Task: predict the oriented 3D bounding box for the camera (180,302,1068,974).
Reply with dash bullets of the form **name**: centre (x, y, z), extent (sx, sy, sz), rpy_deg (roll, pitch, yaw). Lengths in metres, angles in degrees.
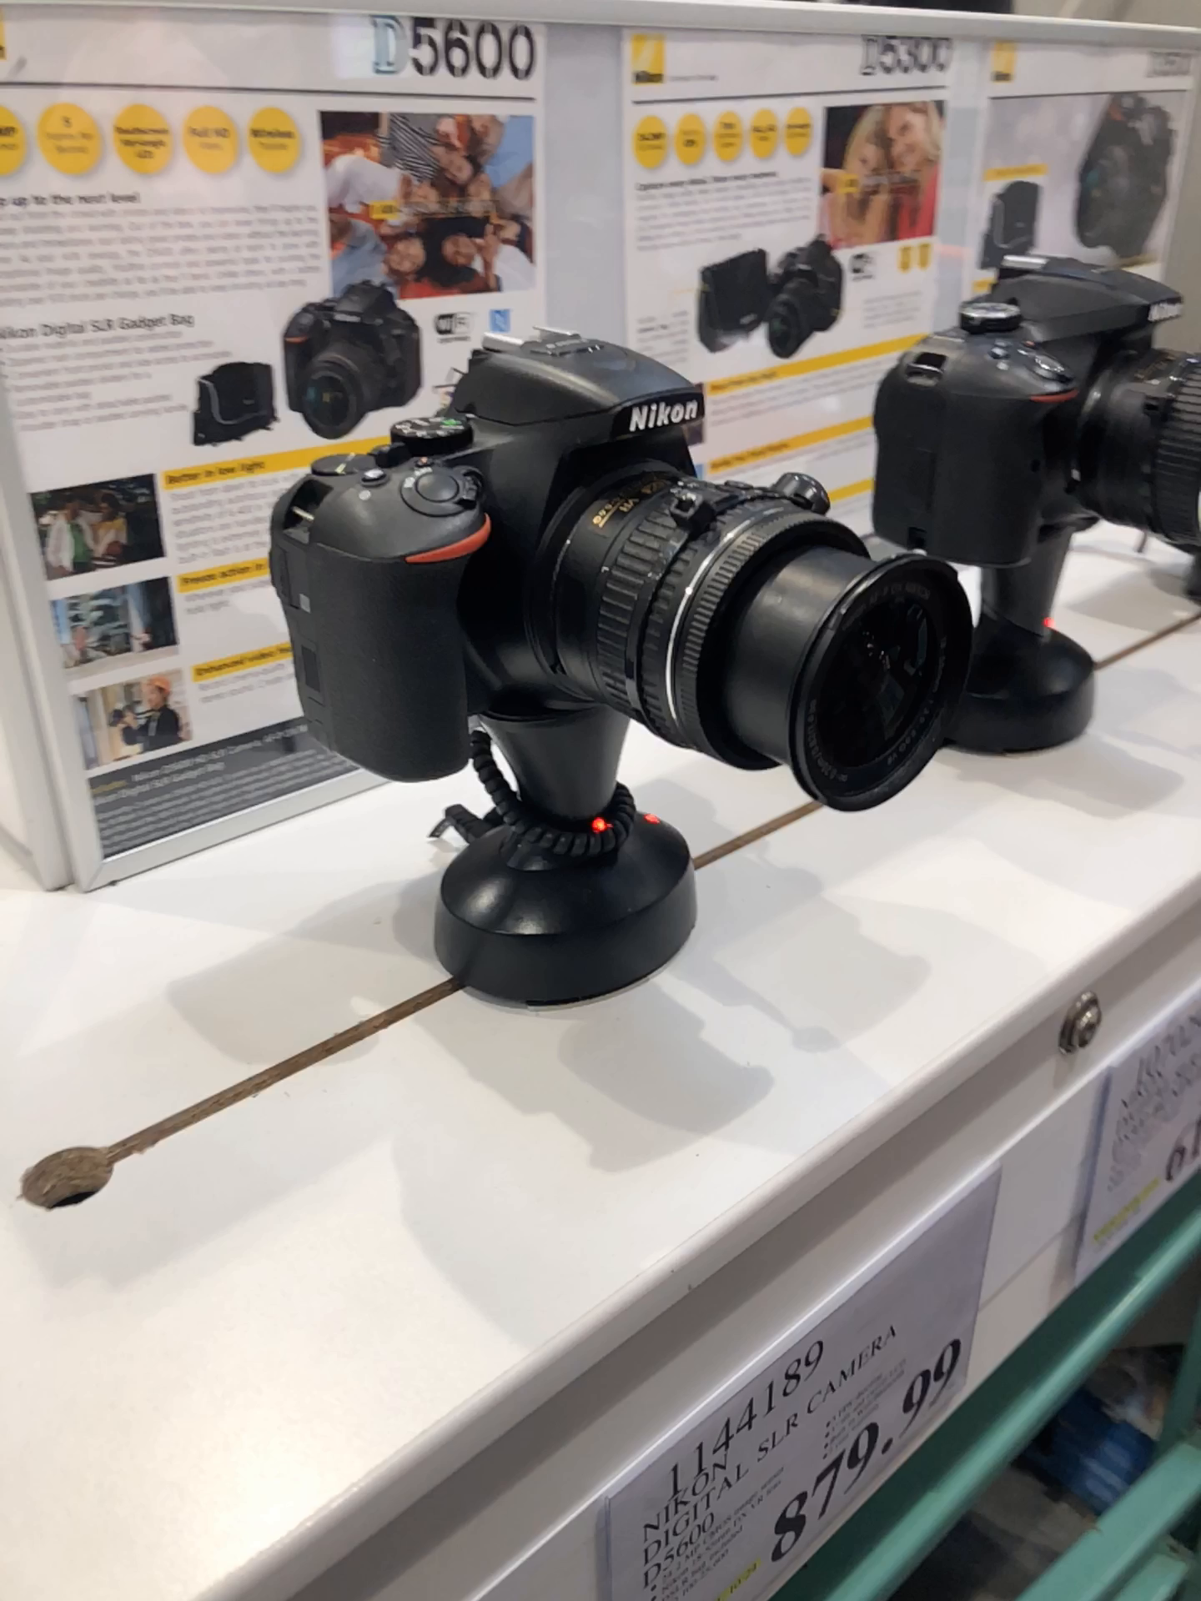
- **camera**: centre (0.001, -0.059, 0.336), extent (0.140, 0.099, 0.161), rpy_deg (-21, 34, -34)
